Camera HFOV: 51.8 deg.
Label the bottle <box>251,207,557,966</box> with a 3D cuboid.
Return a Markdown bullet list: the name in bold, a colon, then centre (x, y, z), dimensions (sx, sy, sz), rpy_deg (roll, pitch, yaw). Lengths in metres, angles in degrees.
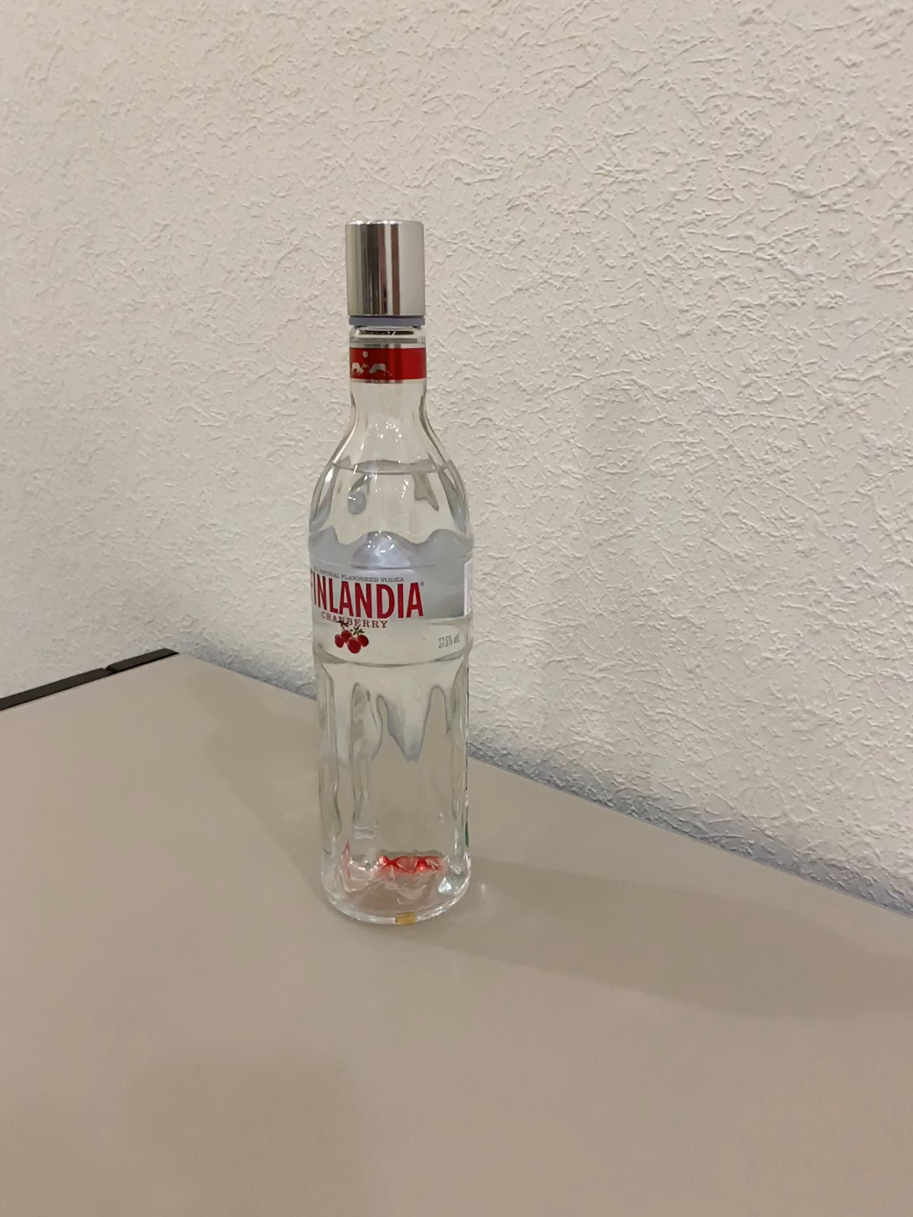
- **bottle**: centre (-0.020, -0.009, 0.428), dimensions (0.090, 0.309, 0.090), rpy_deg (0, 17, 0)
